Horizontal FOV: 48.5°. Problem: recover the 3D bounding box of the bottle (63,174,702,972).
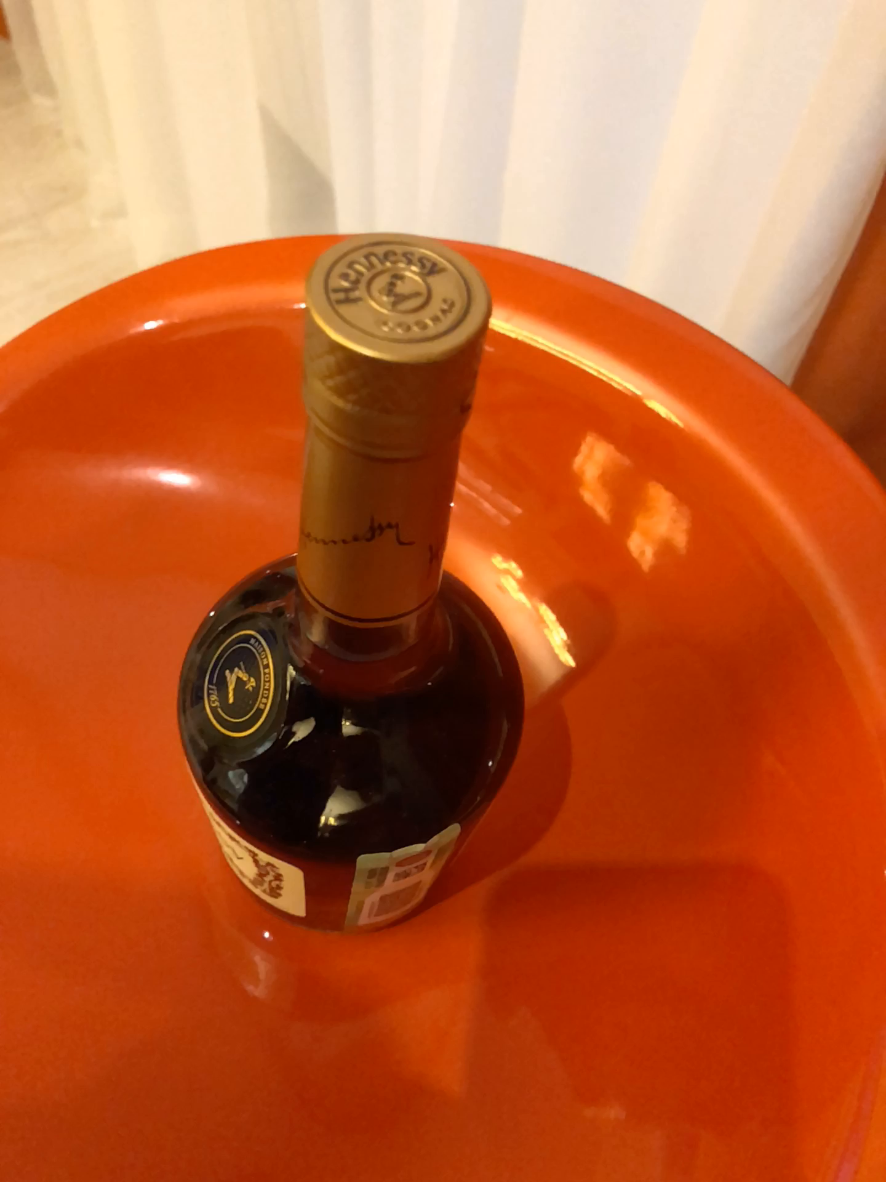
[{"bbox_3d":[-0.022,0.022,0.234,0.079,0.219,0.079,3,58,-5],"label":"bottle"}]
